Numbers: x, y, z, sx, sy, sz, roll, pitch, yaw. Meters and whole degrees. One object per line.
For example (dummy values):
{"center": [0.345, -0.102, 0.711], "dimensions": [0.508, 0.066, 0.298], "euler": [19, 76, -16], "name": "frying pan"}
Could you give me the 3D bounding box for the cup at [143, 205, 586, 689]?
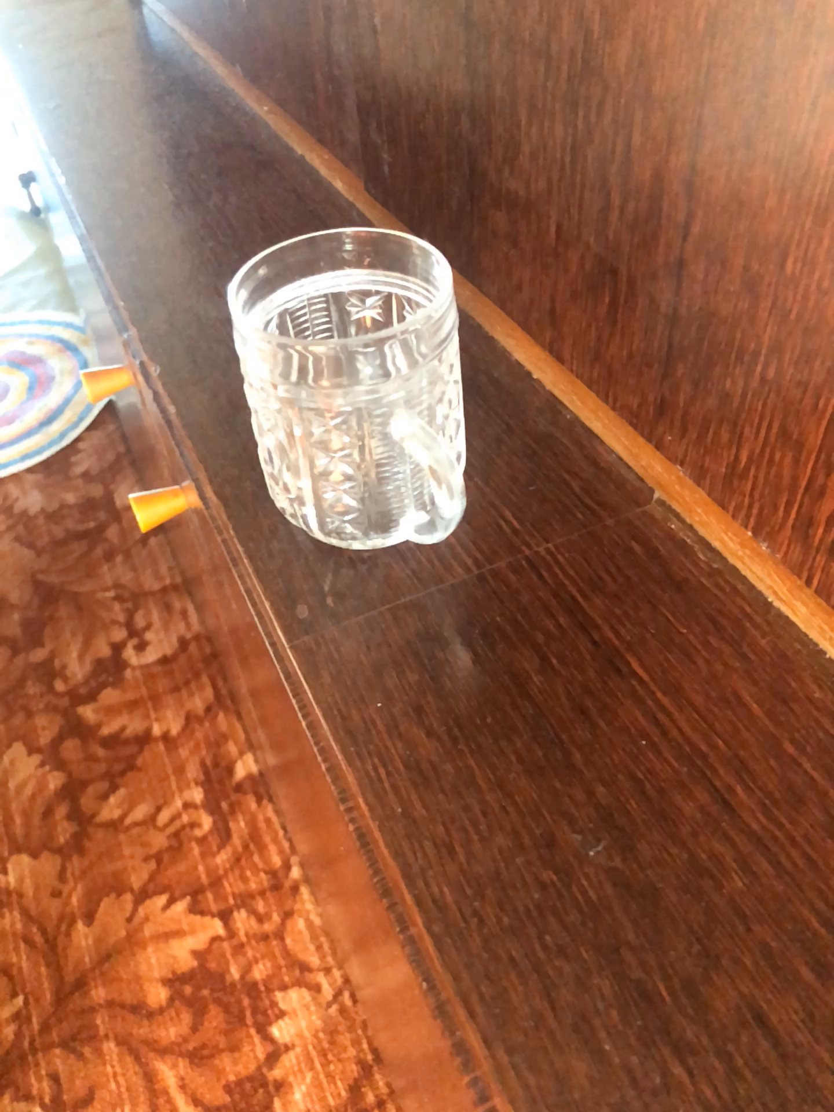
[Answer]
{"center": [-0.015, -0.035, 0.268], "dimensions": [0.070, 0.080, 0.100], "euler": [-30, 51, -23], "name": "cup"}
